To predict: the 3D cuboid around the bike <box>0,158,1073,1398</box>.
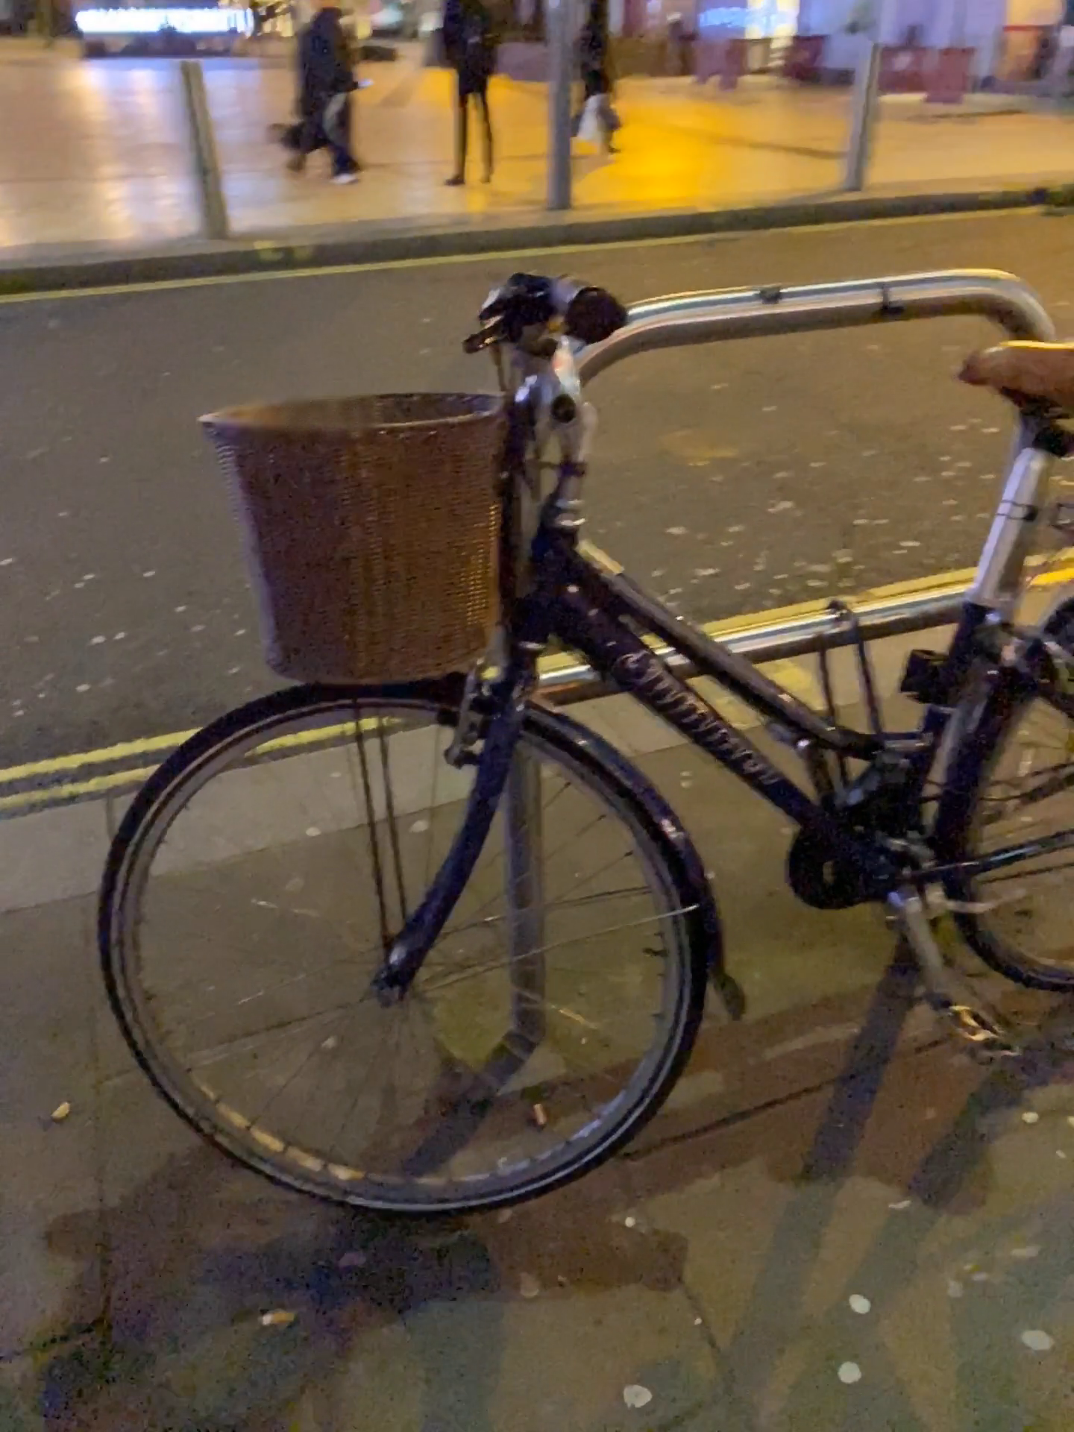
[{"bbox_3d":[0.345,-0.011,1.376,1.710,1.063,0.663,-10,33,-11],"label":"bike"}]
